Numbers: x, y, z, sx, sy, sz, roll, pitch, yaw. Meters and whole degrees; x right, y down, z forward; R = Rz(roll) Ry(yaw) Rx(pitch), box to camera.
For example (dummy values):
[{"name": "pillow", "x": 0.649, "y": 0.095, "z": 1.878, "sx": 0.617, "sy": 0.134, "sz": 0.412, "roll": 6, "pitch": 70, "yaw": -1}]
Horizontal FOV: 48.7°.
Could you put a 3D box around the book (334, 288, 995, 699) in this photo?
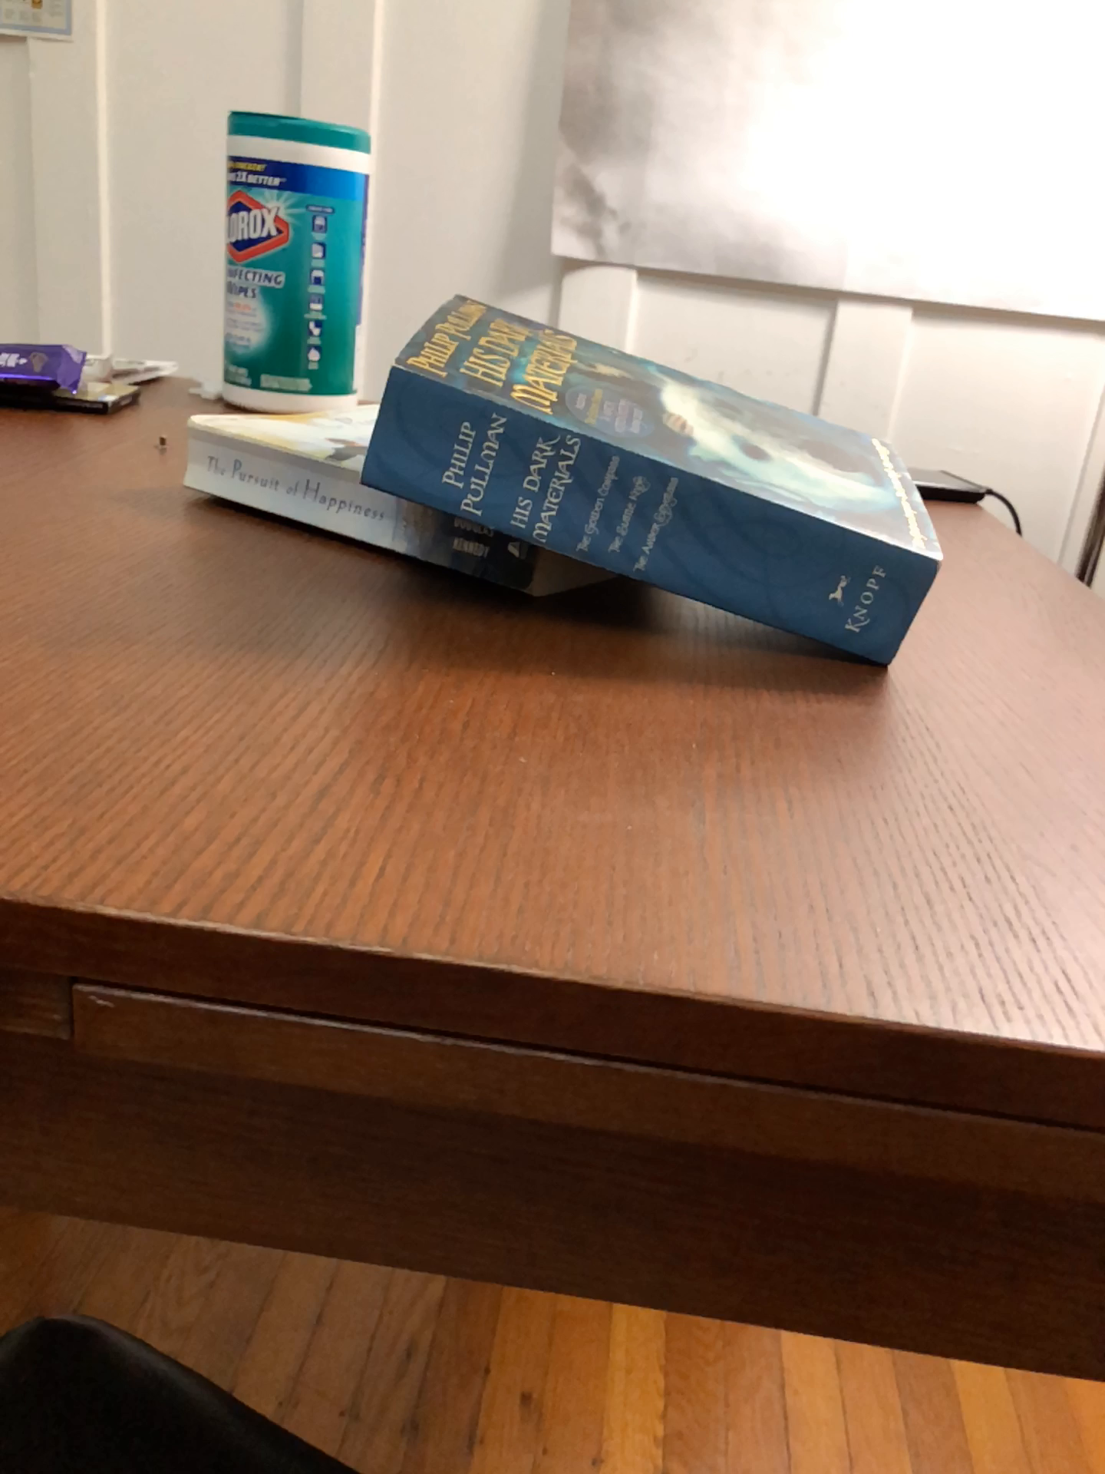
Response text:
[{"name": "book", "x": 0.045, "y": -0.115, "z": 0.532, "sx": 0.240, "sy": 0.060, "sz": 0.171, "roll": 18, "pitch": 25, "yaw": -6}]

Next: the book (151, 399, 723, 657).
[{"name": "book", "x": -0.061, "y": -0.121, "z": 0.634, "sx": 0.240, "sy": 0.040, "sz": 0.171, "roll": 24, "pitch": 33, "yaw": 31}]
